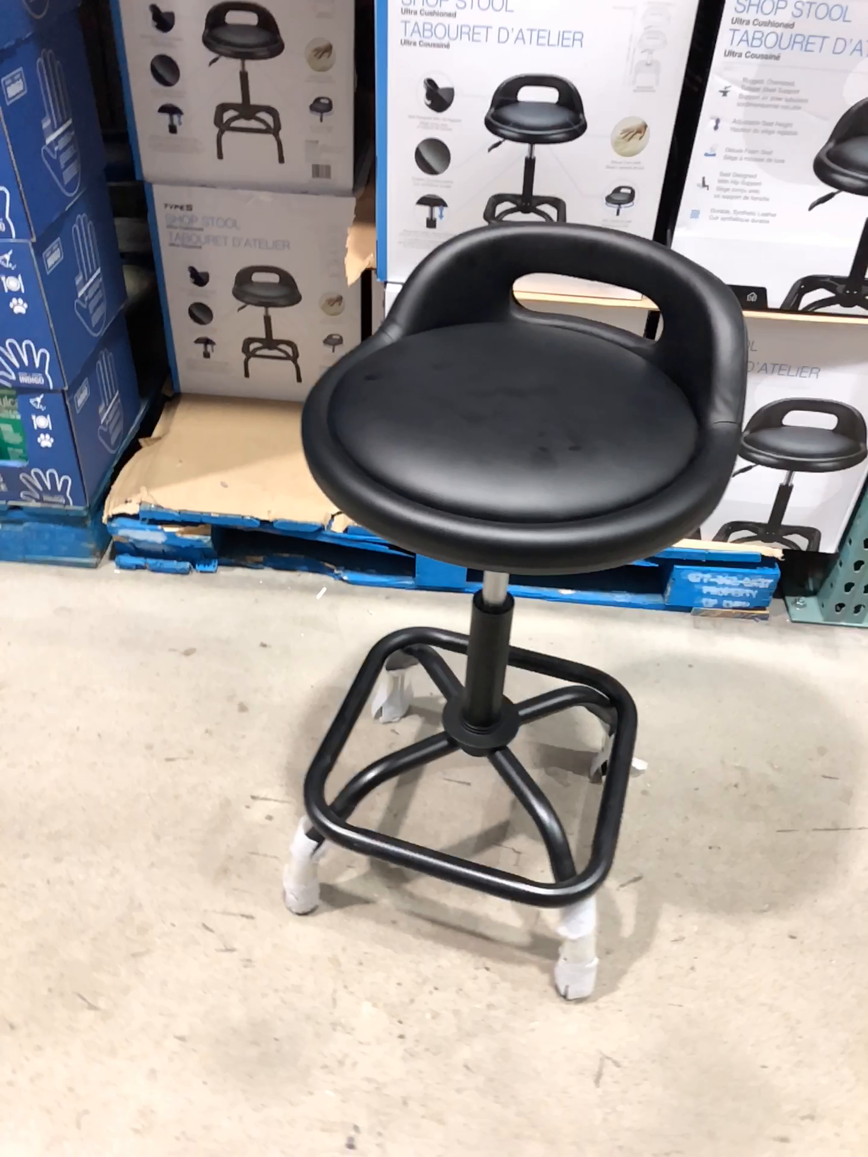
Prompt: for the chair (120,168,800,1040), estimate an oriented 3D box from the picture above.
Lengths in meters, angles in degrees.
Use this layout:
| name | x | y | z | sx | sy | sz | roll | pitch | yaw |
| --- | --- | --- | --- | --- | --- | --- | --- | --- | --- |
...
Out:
| name | x | y | z | sx | sy | sz | roll | pitch | yaw |
| --- | --- | --- | --- | --- | --- | --- | --- | --- | --- |
| chair | 0.055 | 0.031 | 1.081 | 0.480 | 0.747 | 0.512 | 13 | 41 | 11 |
